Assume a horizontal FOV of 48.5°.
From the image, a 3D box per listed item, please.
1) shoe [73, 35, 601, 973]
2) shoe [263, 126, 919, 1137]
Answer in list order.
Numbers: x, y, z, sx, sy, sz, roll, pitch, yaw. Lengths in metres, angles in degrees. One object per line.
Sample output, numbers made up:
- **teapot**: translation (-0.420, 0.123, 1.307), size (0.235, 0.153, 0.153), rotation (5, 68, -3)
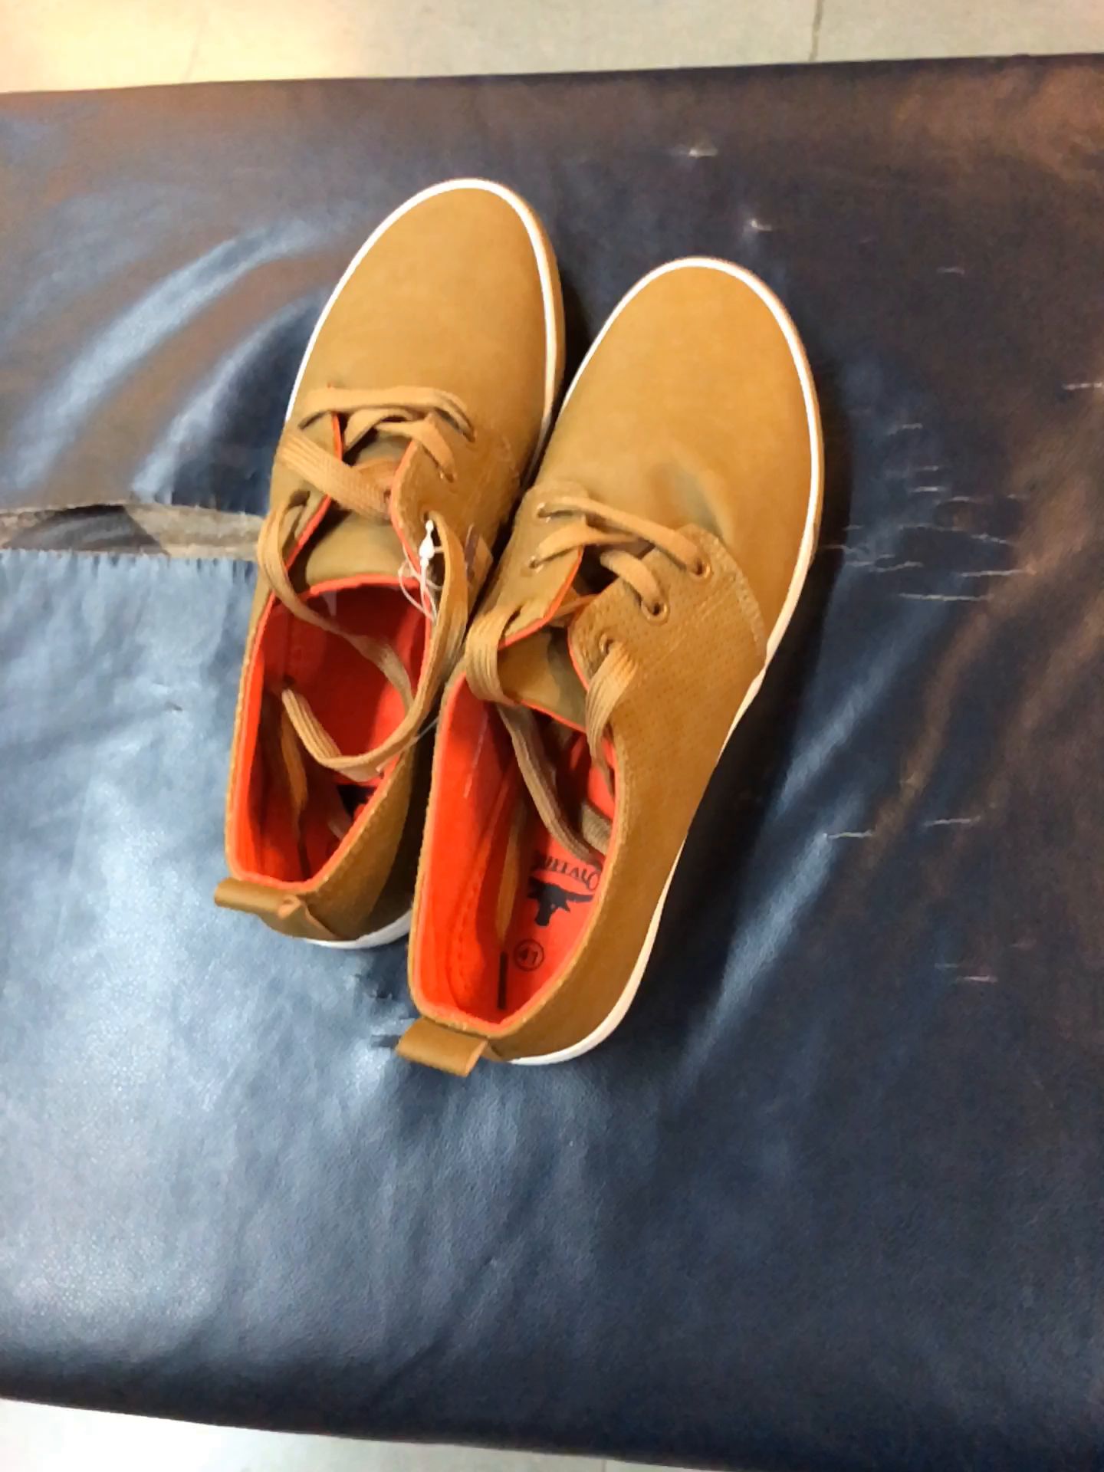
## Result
- **shoe**: translation (-0.051, -0.069, 0.381), size (0.100, 0.097, 0.266), rotation (4, 75, 8)
- **shoe**: translation (0.021, -0.031, 0.360), size (0.095, 0.091, 0.261), rotation (16, 77, 11)
